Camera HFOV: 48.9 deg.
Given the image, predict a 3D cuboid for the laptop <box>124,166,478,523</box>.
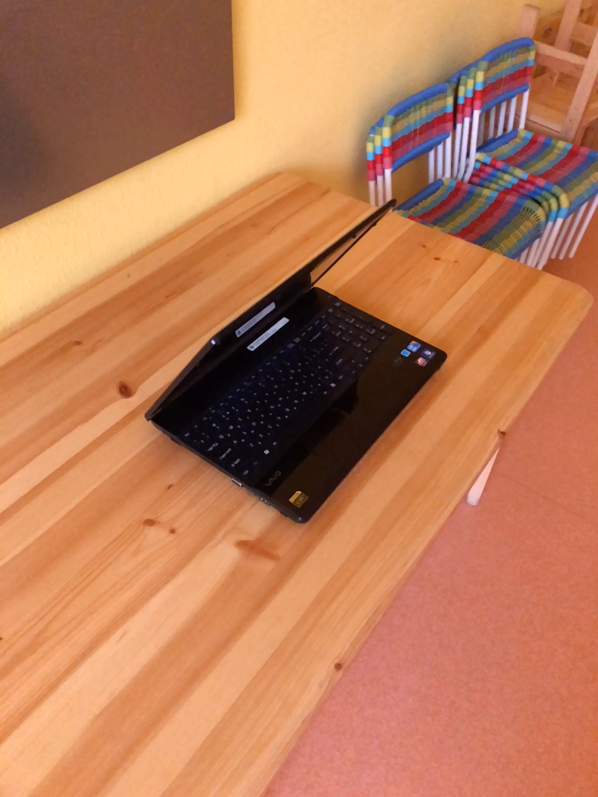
[{"bbox_3d":[0.016,-0.090,0.830,0.247,0.200,0.364,29,51,22],"label":"laptop"}]
